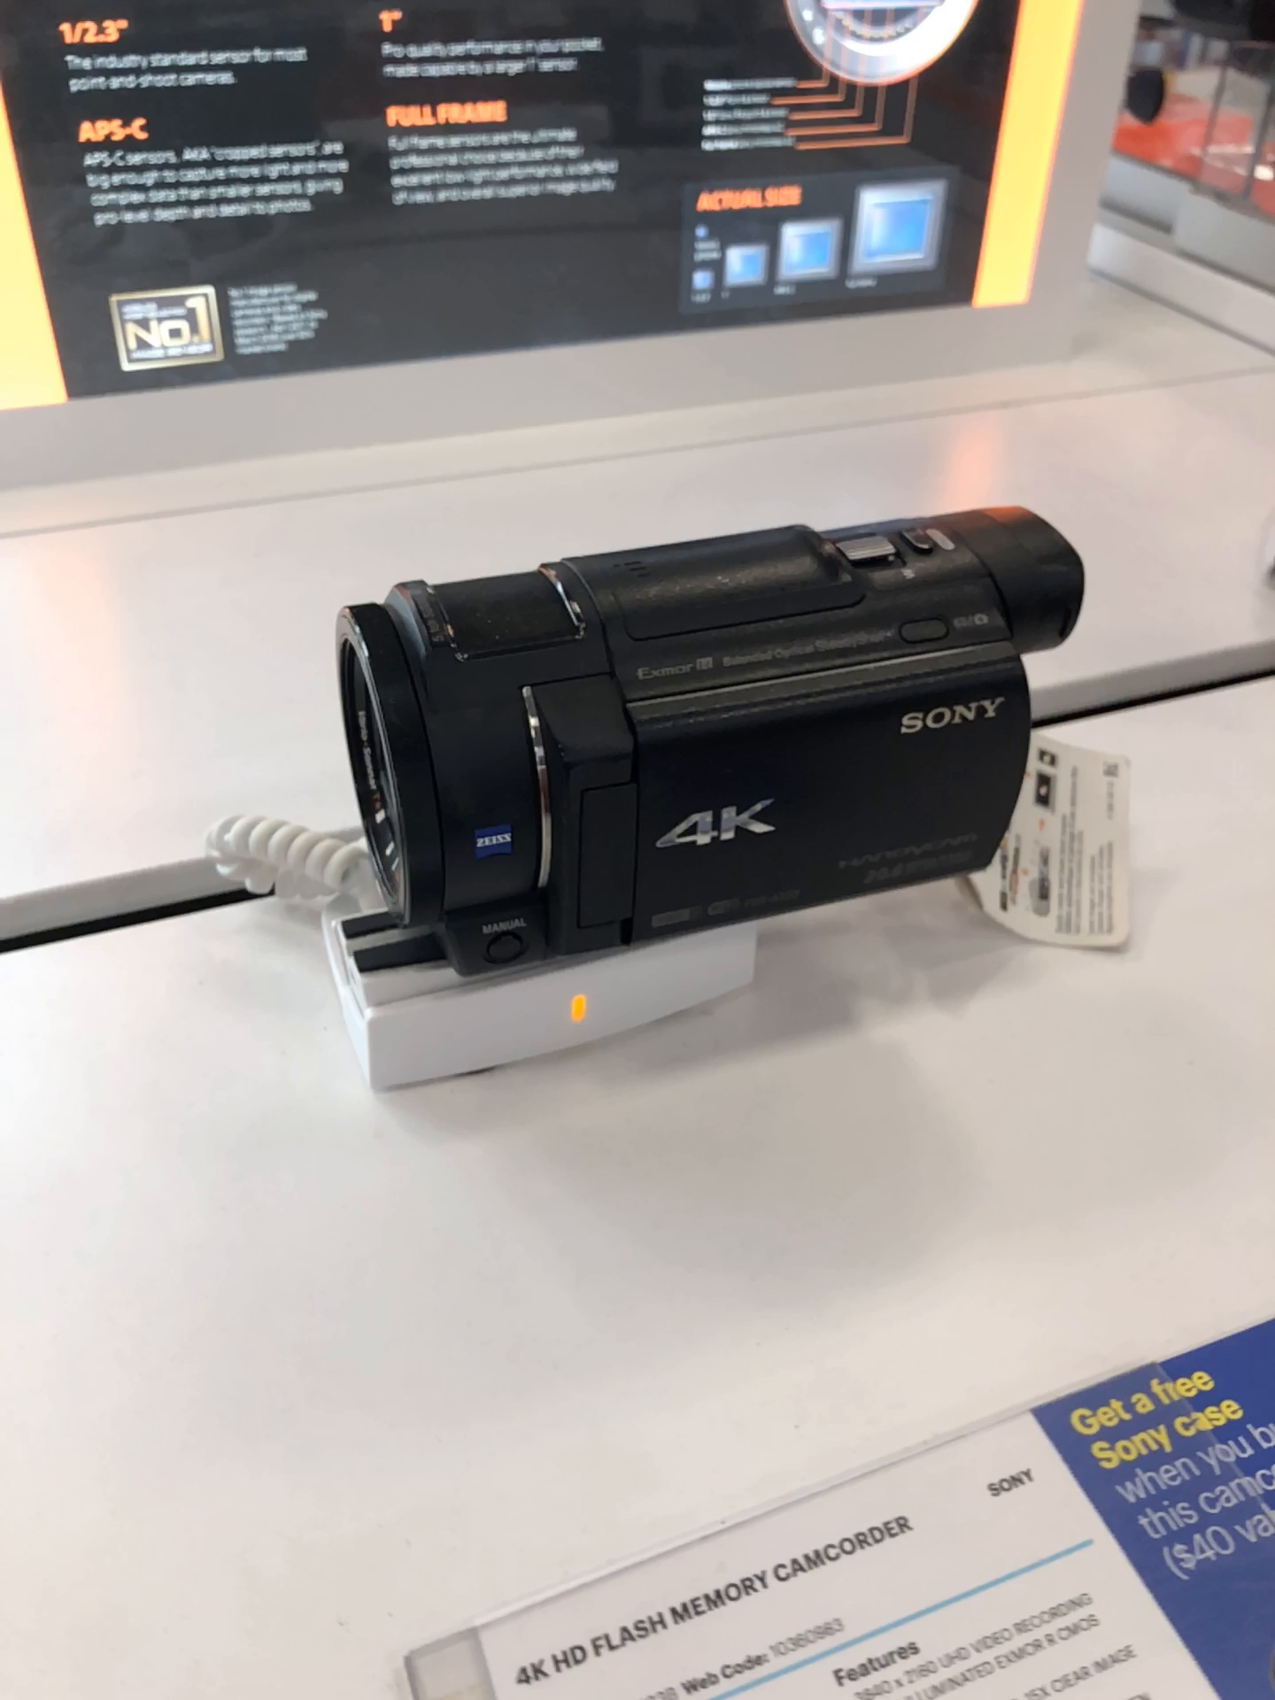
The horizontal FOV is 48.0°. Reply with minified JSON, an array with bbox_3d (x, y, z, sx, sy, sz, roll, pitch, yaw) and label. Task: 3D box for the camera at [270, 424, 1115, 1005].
[{"bbox_3d":[0.008,-0.035,0.308,0.150,0.070,0.080,-12,39,-17],"label":"camera"}]
